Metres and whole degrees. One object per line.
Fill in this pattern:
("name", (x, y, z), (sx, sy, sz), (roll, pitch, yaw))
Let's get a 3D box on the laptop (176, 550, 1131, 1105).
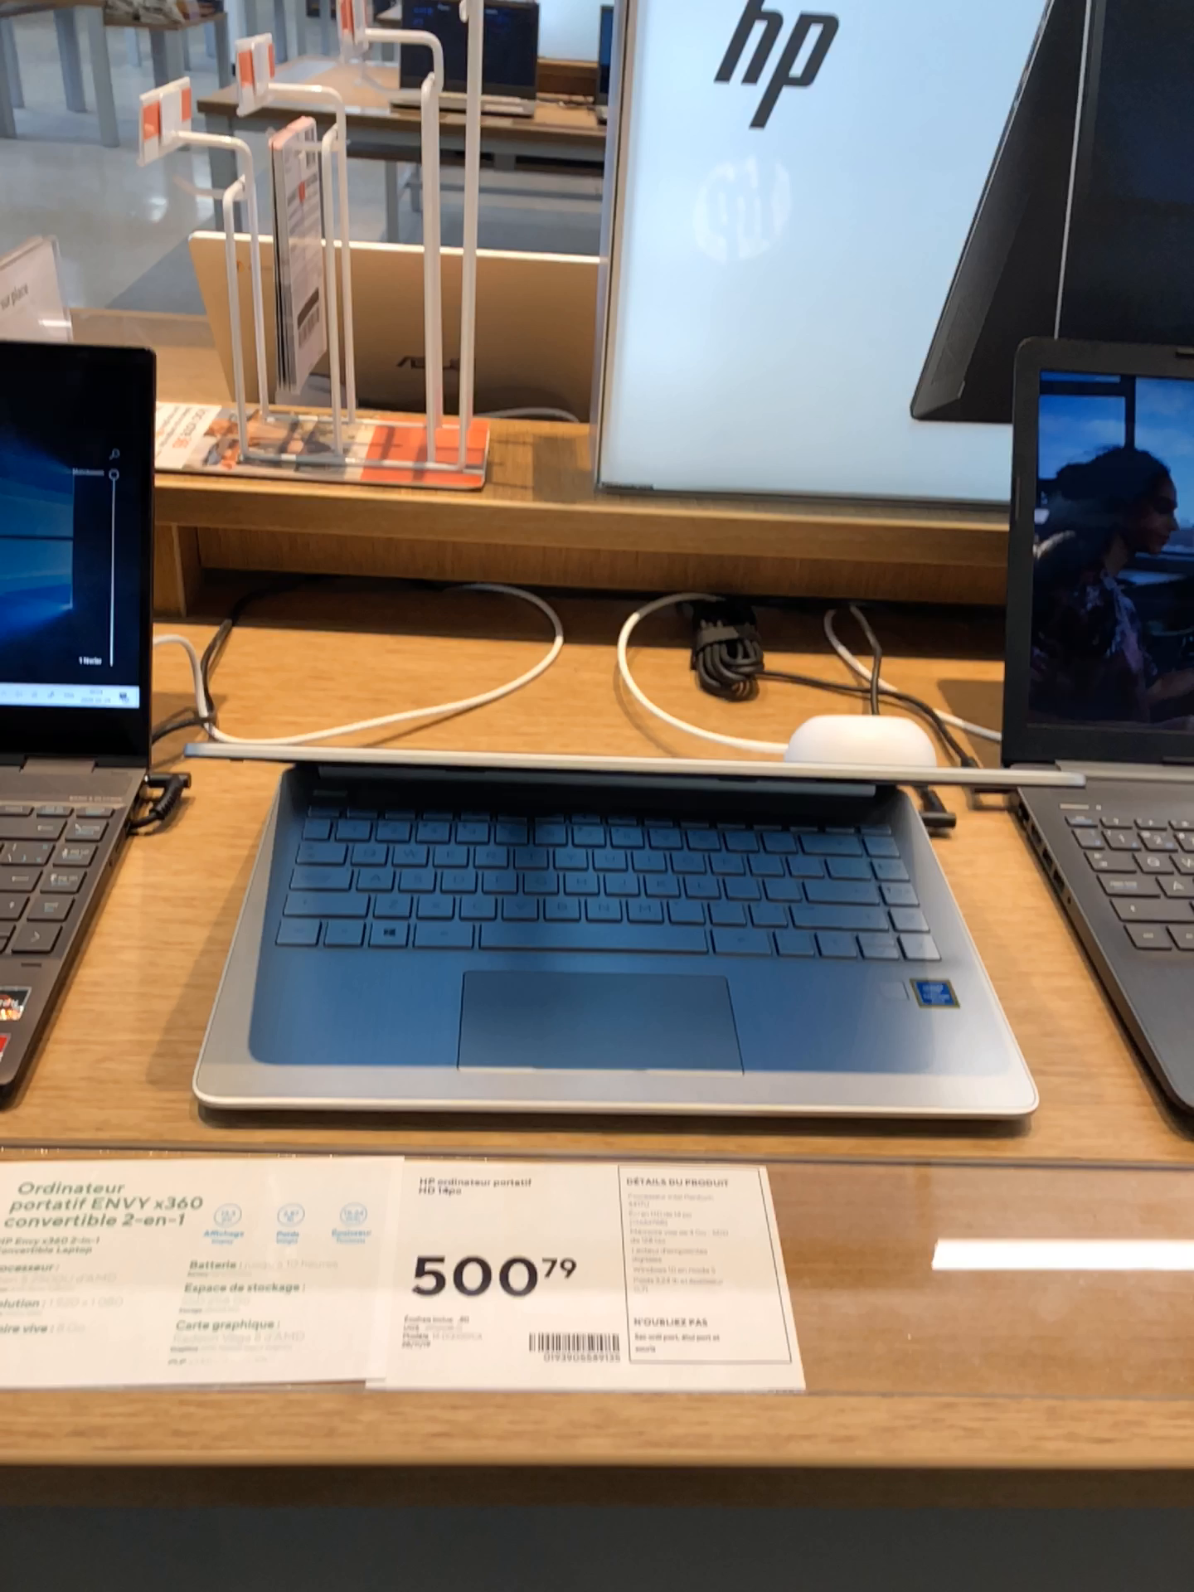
("laptop", (0.014, 0.003, 0.548), (0.314, 0.110, 0.217), (2, 35, -4))
